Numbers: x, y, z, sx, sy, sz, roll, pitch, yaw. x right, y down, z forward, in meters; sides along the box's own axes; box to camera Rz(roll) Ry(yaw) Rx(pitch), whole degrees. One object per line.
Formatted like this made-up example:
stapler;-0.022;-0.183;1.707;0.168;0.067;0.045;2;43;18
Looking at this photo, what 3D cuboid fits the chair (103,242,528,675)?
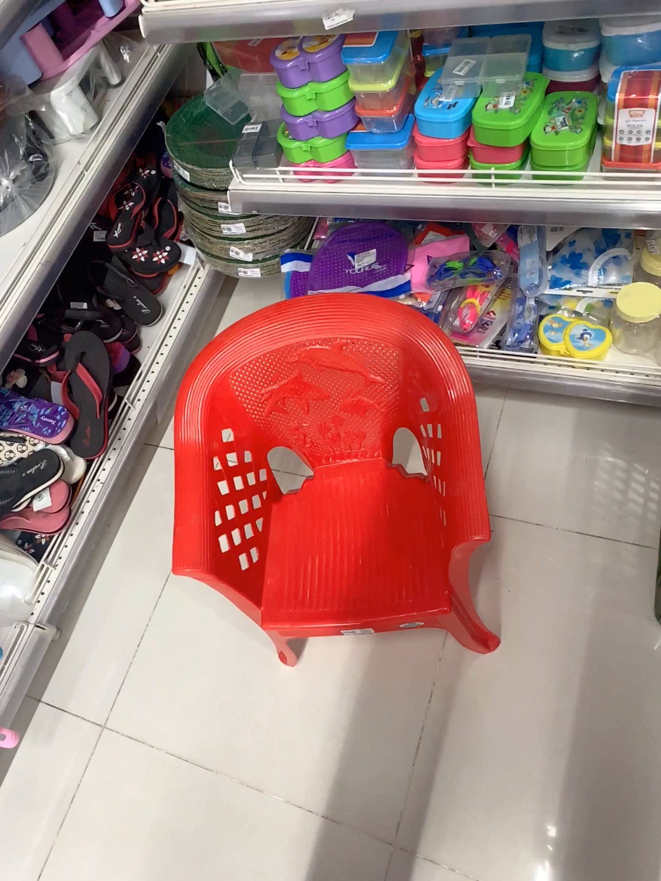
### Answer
chair;0.027;0.075;1.091;0.501;0.479;0.491;-7;60;14
